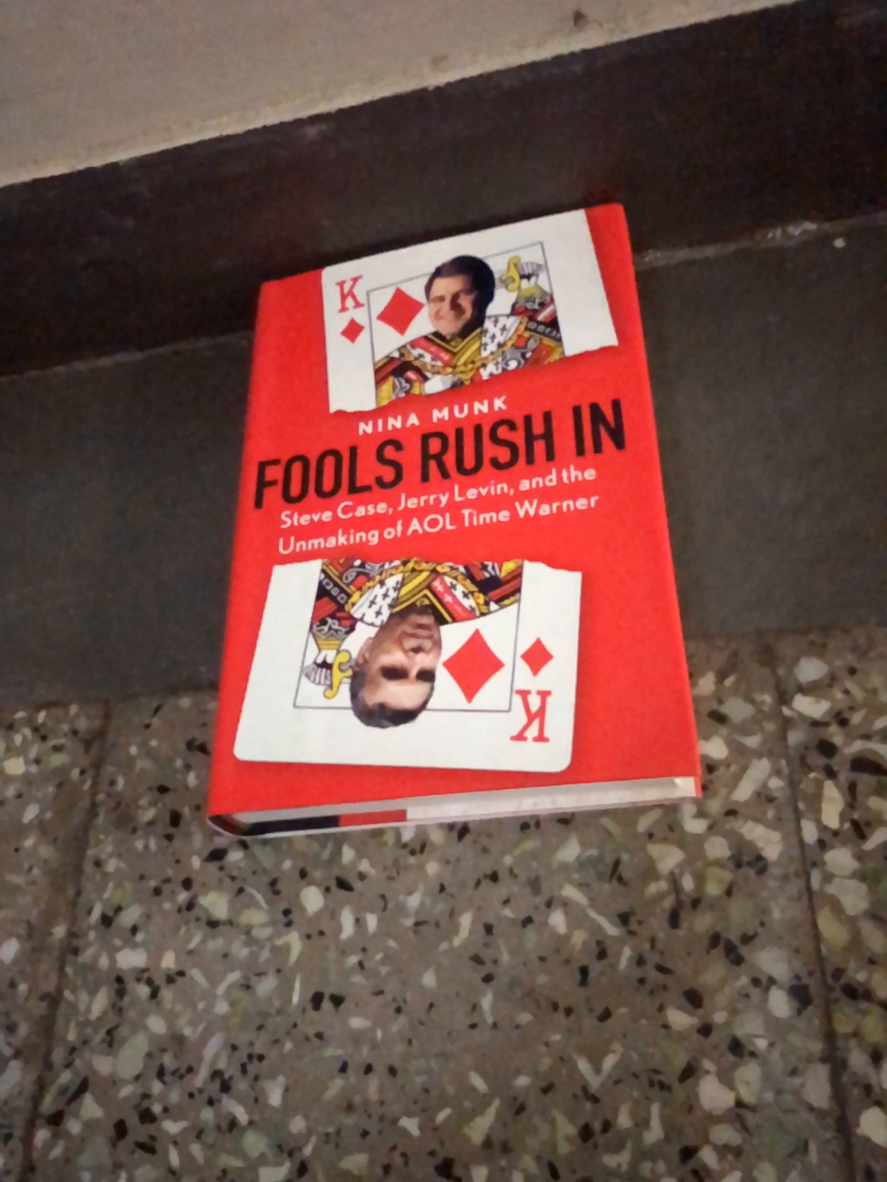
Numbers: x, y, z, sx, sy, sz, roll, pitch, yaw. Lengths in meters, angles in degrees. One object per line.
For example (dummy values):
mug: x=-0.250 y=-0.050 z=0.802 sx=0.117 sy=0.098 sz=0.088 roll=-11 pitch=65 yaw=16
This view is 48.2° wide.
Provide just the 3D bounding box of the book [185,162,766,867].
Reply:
book: x=0.004 y=-0.042 z=0.379 sx=0.180 sy=0.030 sz=0.270 roll=-8 pitch=60 yaw=12
